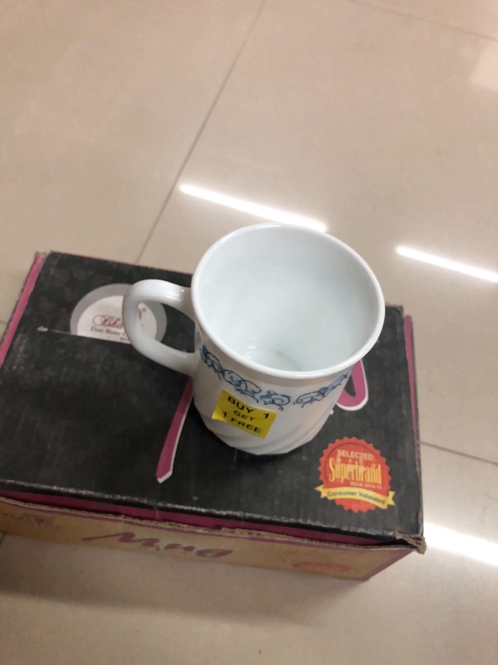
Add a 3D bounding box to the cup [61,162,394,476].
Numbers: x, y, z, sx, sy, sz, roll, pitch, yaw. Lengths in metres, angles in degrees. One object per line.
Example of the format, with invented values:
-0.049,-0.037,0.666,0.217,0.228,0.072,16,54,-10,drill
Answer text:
-0.007,-0.003,0.261,0.120,0.090,0.090,11,56,-2,cup
